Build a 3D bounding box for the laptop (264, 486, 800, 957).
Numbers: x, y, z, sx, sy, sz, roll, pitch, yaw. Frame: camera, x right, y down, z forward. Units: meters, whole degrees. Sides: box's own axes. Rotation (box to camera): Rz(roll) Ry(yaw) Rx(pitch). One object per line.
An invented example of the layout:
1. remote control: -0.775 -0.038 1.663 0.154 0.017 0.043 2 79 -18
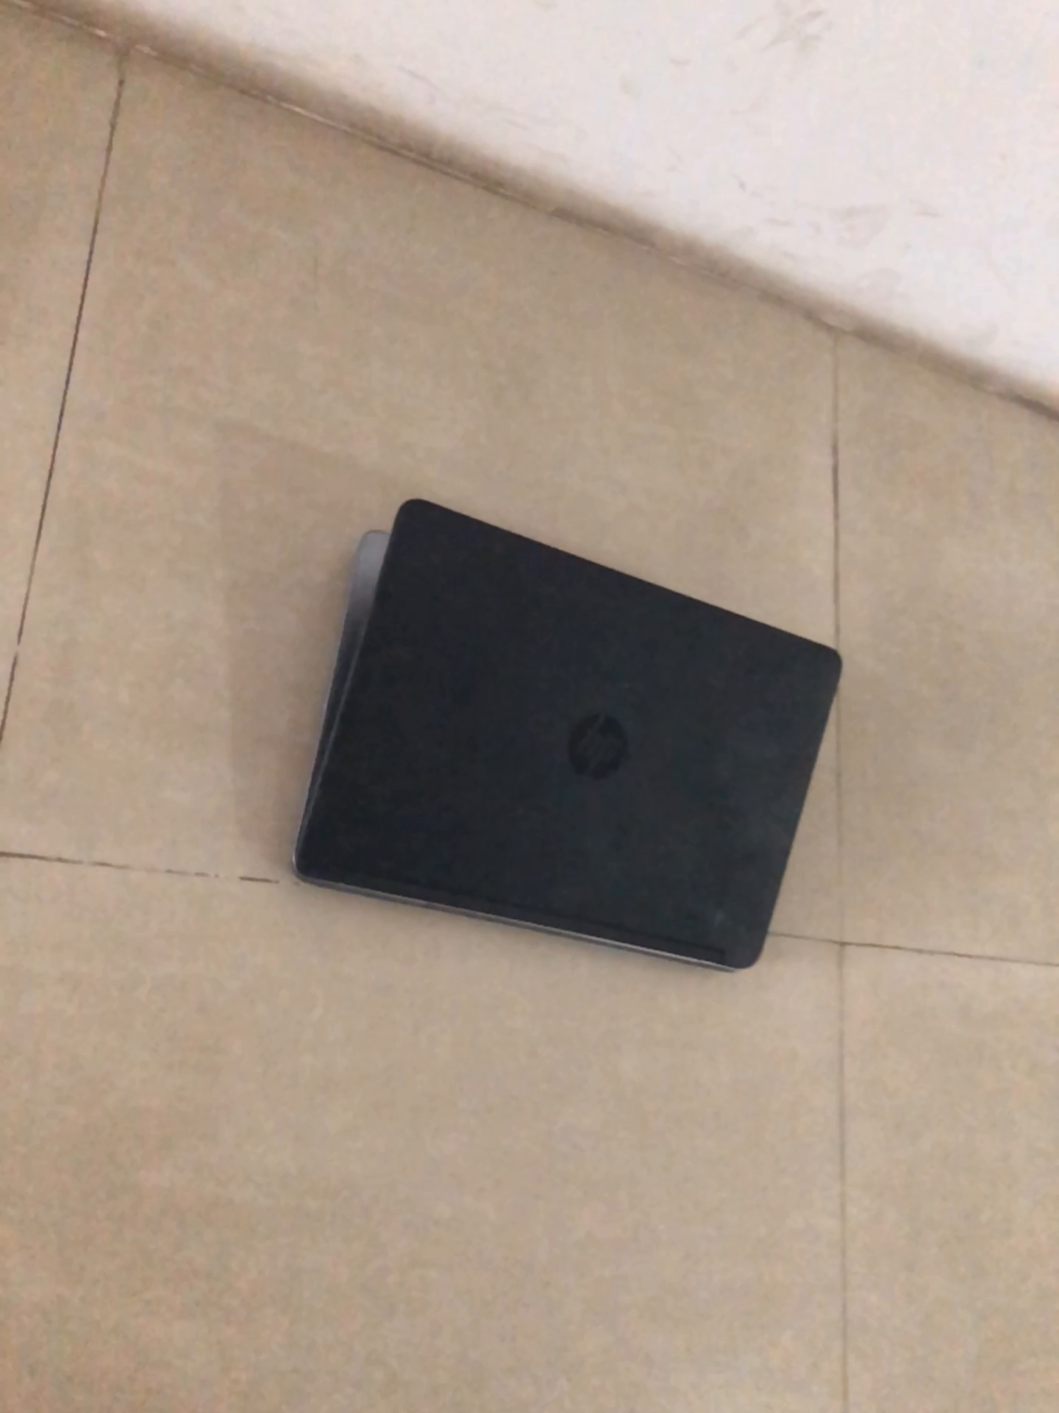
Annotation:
1. laptop: 0.014 0.024 0.739 0.305 0.084 0.214 17 74 -24
